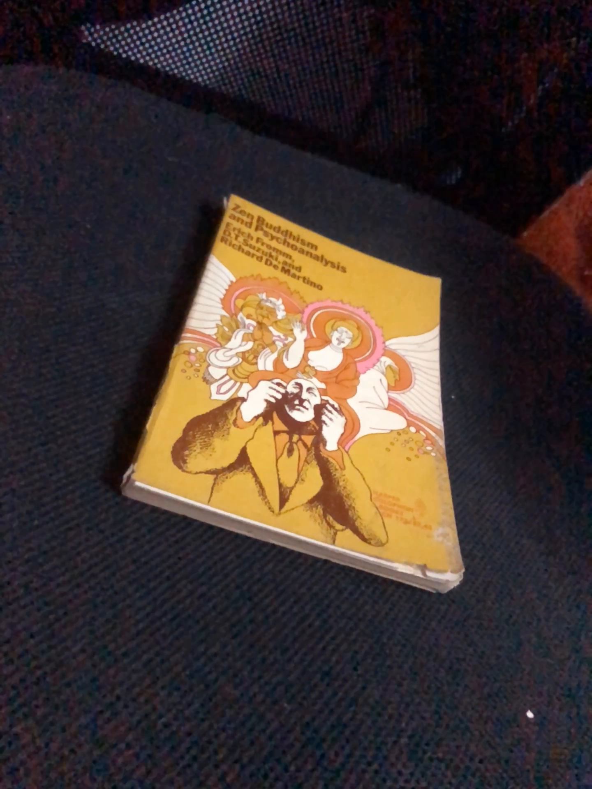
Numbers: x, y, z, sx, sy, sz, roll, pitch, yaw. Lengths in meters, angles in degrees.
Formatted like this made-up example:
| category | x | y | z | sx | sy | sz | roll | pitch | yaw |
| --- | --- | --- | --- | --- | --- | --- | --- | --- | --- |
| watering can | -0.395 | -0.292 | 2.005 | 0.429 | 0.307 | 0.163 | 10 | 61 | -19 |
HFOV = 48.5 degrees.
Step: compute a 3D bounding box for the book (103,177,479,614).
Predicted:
| category | x | y | z | sx | sy | sz | roll | pitch | yaw |
| --- | --- | --- | --- | --- | --- | --- | --- | --- | --- |
| book | 0.008 | -0.014 | 0.302 | 0.137 | 0.020 | 0.201 | 19 | 45 | -14 |
